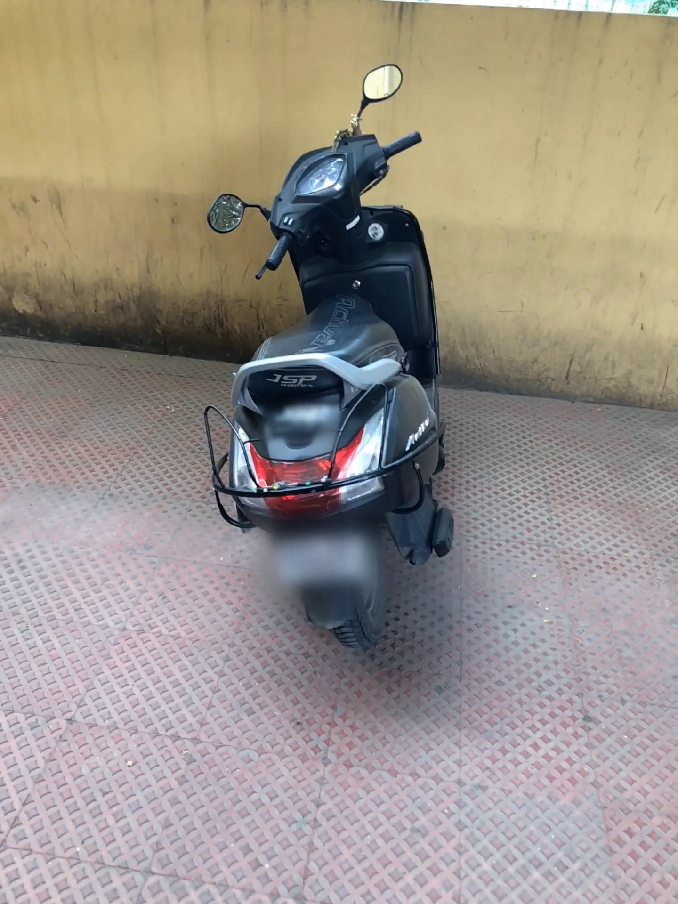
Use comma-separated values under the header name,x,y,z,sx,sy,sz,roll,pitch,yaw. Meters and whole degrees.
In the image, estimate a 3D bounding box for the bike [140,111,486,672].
name,x,y,z,sx,sy,sz,roll,pitch,yaw
bike,-0.027,-0.343,2.211,0.592,1.044,1.593,4,31,1
